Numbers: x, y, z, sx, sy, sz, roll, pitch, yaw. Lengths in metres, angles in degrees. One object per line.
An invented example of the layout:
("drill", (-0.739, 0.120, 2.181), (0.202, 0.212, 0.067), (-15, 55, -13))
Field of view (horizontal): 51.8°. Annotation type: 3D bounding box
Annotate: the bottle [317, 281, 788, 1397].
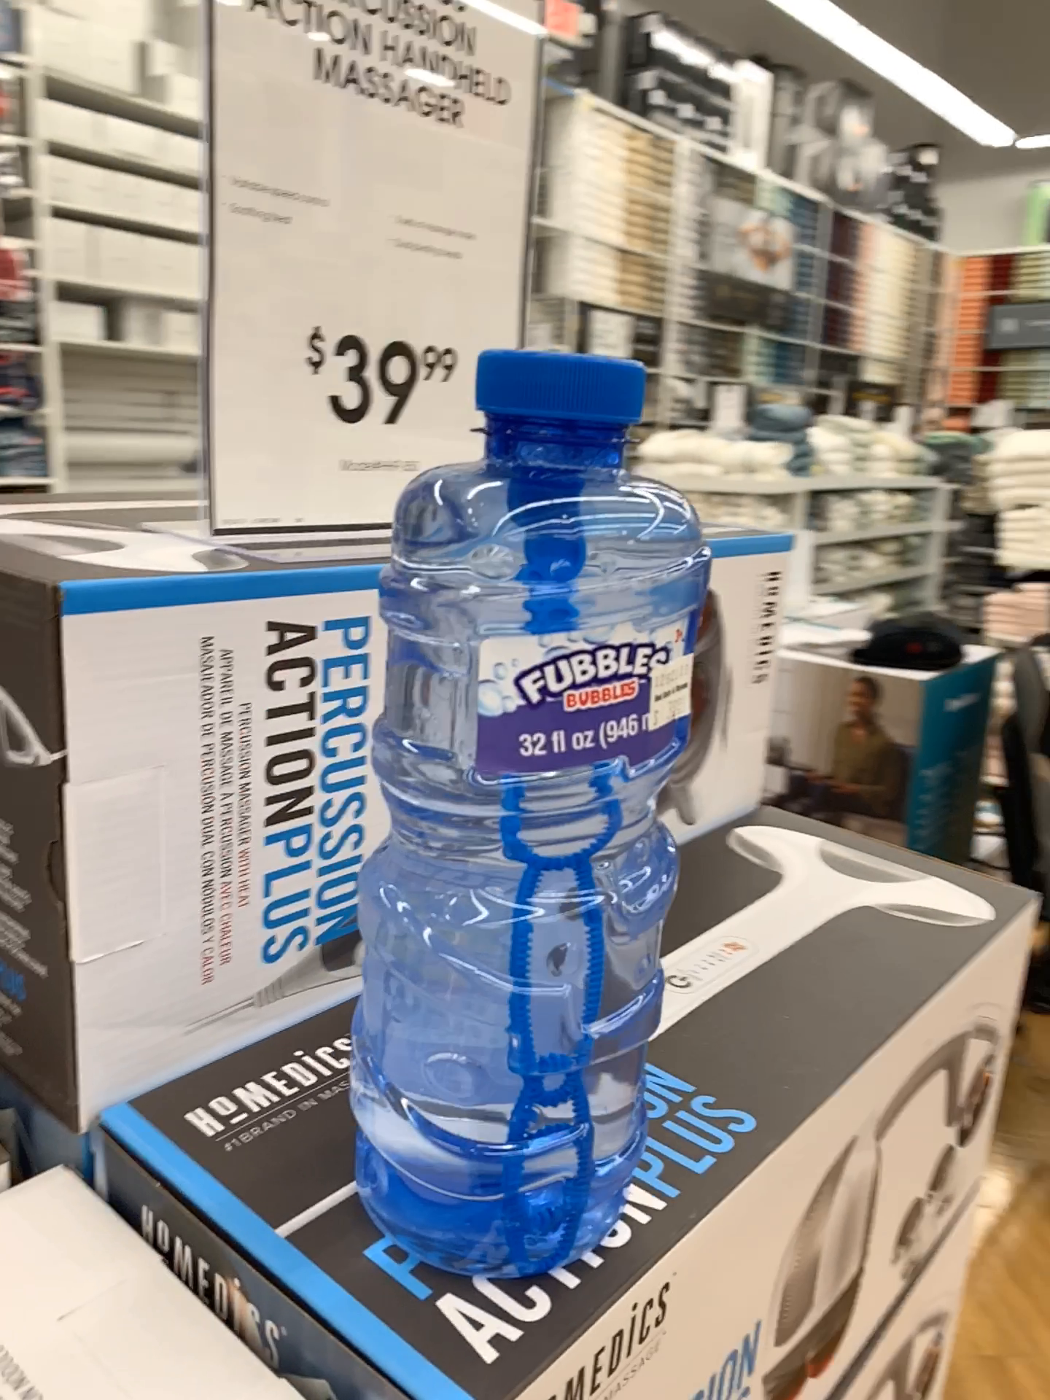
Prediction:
("bottle", (-0.002, 0.031, 0.276), (0.081, 0.243, 0.081), (2, 13, 0))
